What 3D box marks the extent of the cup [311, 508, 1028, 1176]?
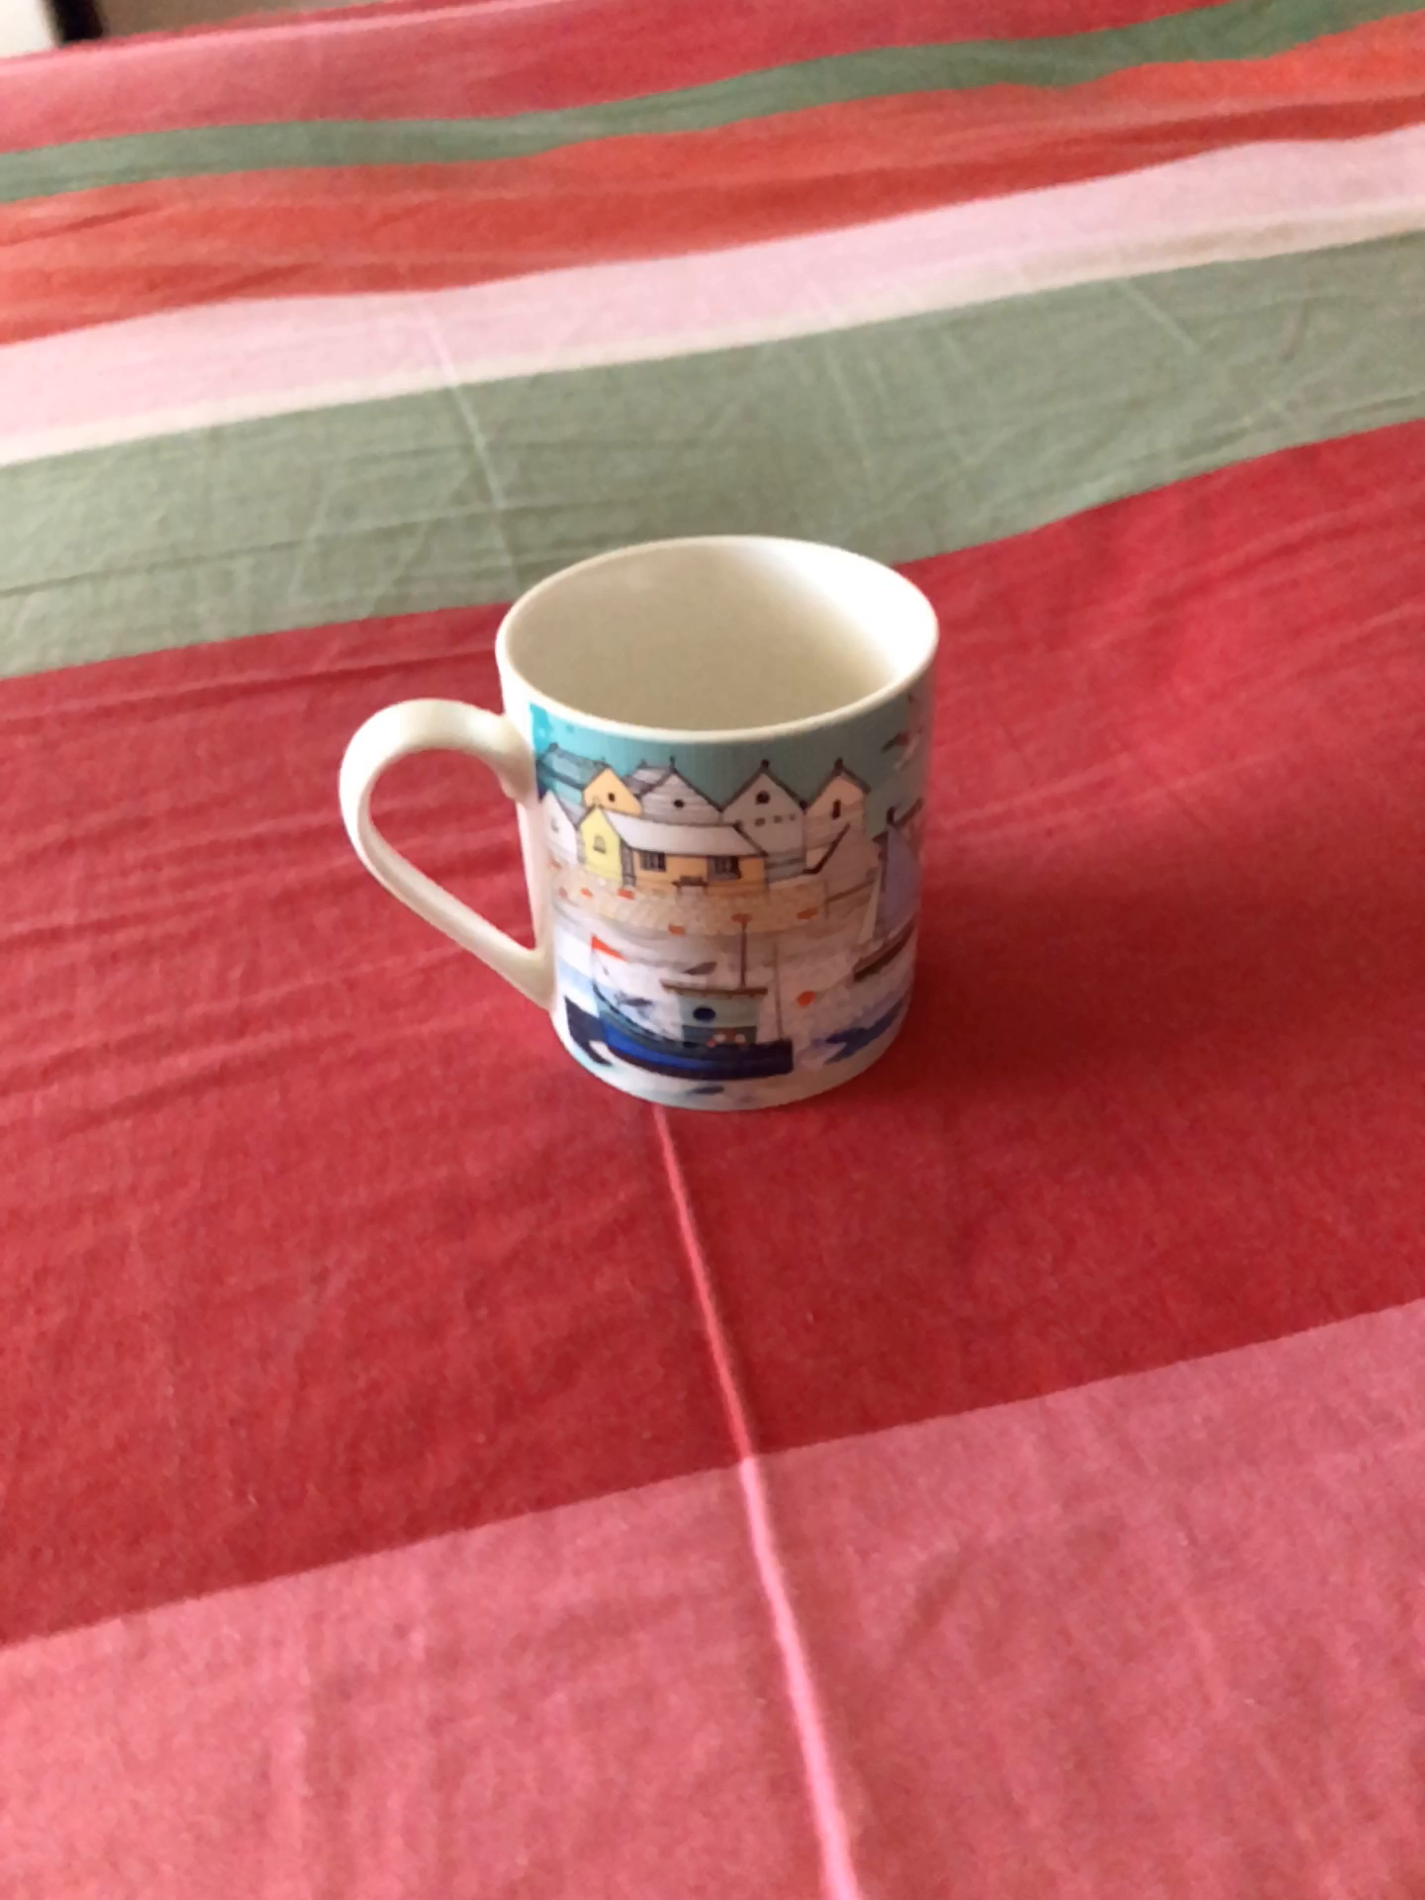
[{"bbox_3d":[-0.013,-0.026,0.323,0.120,0.080,0.094,-9,38,-7],"label":"cup"}]
